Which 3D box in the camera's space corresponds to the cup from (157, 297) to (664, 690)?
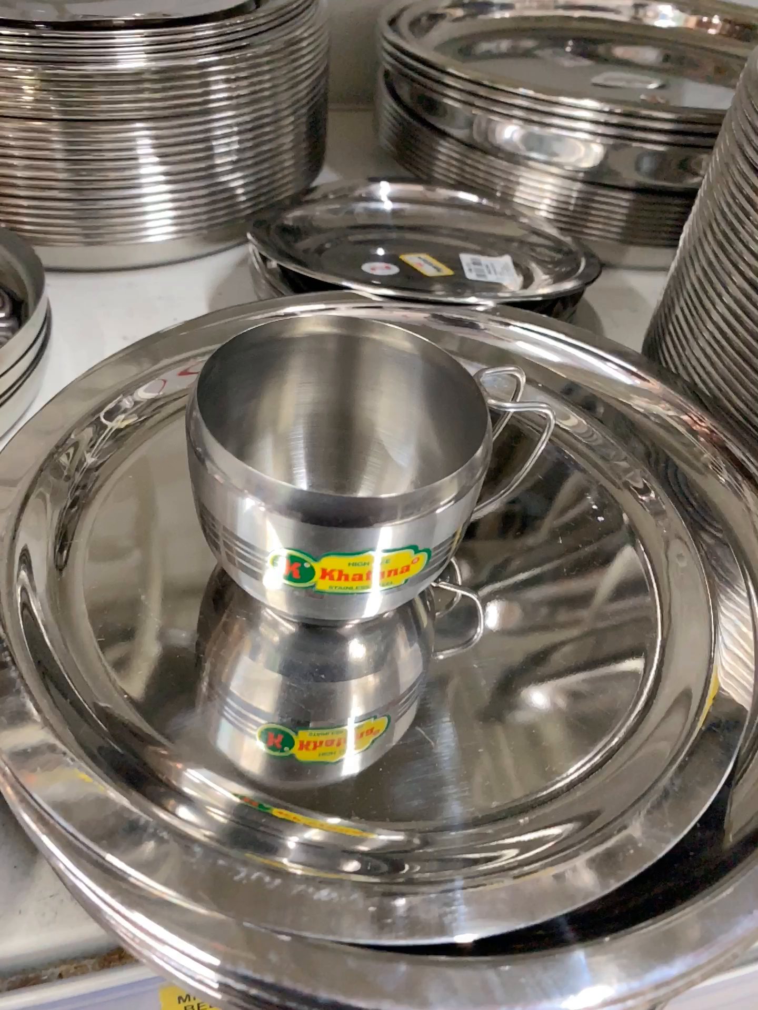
[{"bbox_3d":[0.002,-0.008,0.182,0.090,0.040,0.070,-10,47,-17],"label":"cup"}]
